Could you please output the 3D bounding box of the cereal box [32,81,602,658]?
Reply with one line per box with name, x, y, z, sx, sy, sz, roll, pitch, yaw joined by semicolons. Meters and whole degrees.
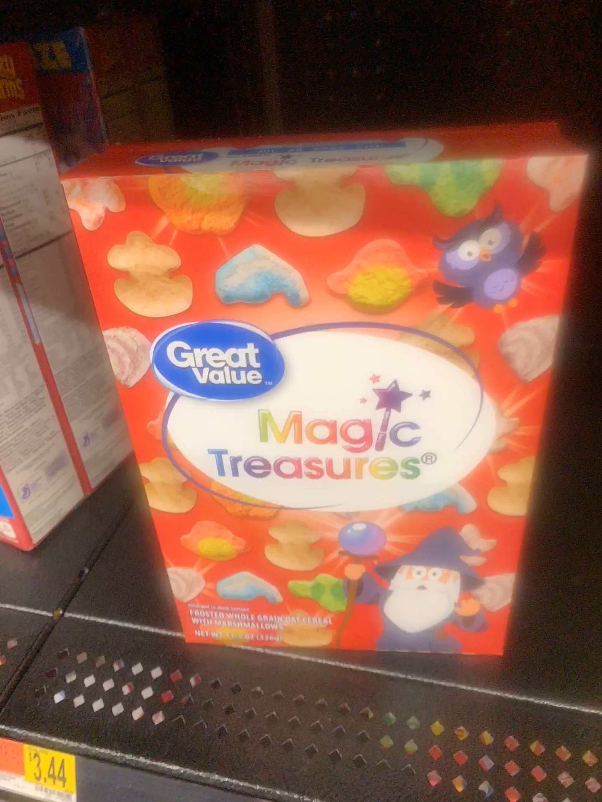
cereal box;0.014;0.003;0.317;0.200;0.279;0.070;0;30;7
